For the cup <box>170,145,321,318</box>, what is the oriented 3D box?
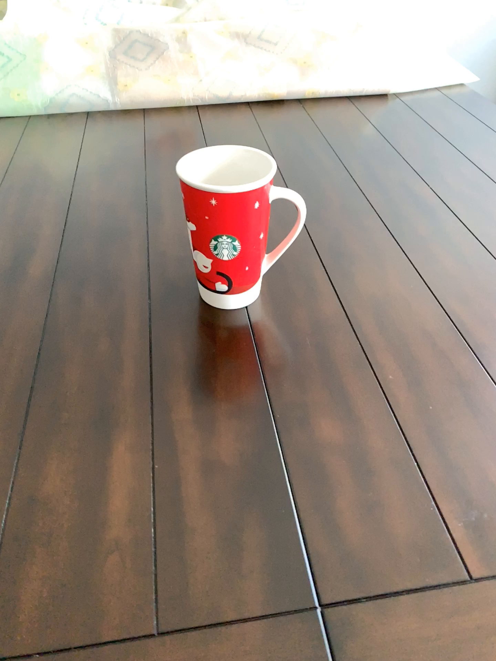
[{"bbox_3d":[-0.006,-0.100,0.521,0.130,0.139,0.101,-2,43,-4],"label":"cup"}]
